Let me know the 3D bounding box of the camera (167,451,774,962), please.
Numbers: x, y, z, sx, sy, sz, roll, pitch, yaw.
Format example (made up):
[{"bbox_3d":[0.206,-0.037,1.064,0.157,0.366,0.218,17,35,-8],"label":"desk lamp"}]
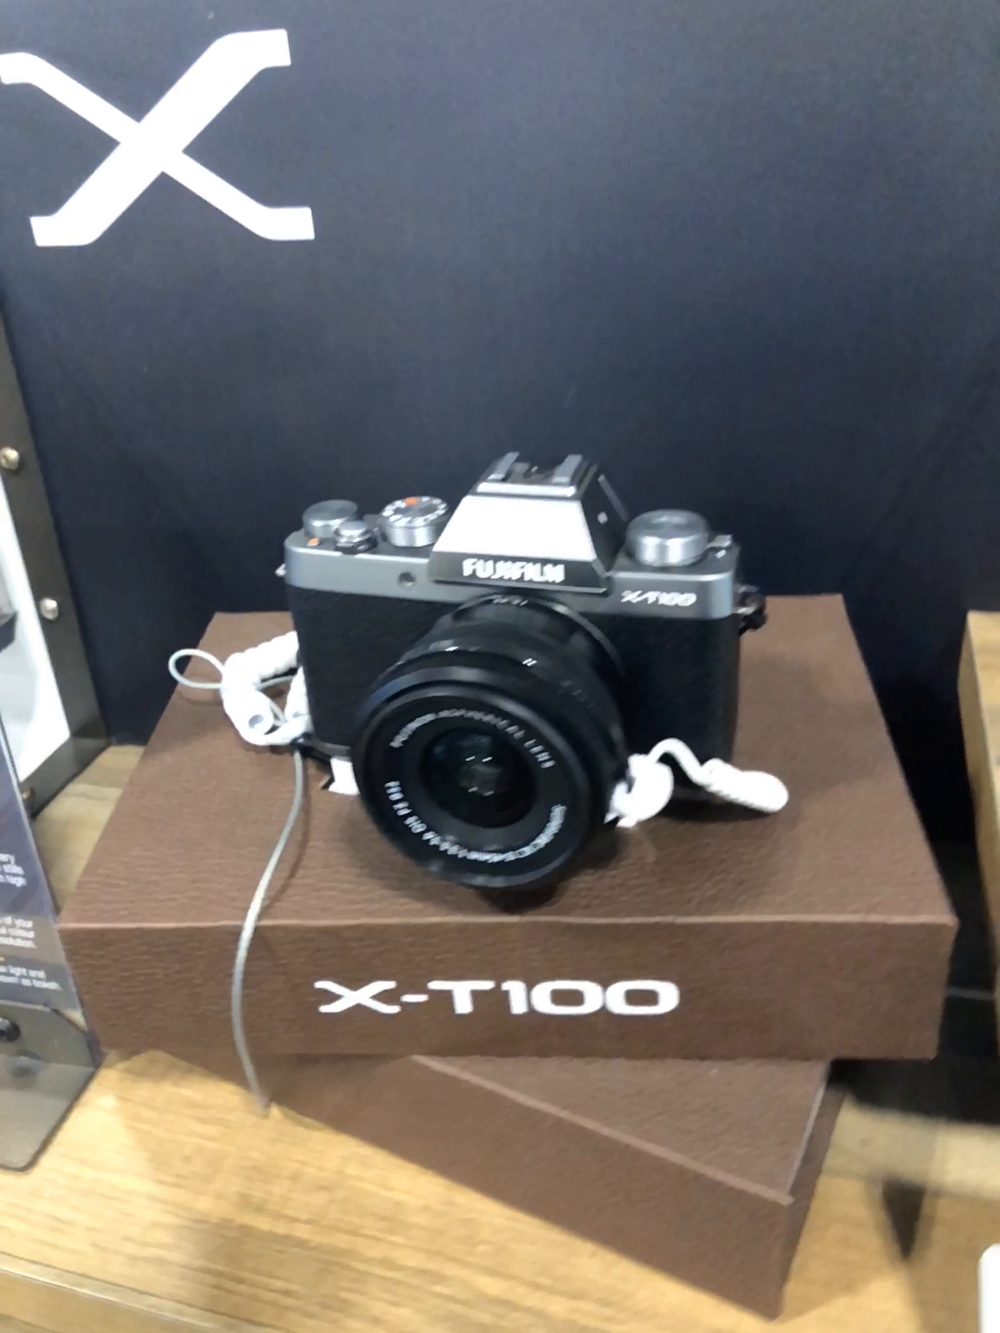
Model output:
[{"bbox_3d":[0.002,0.001,0.302,0.130,0.089,0.101,5,29,17],"label":"camera"}]
